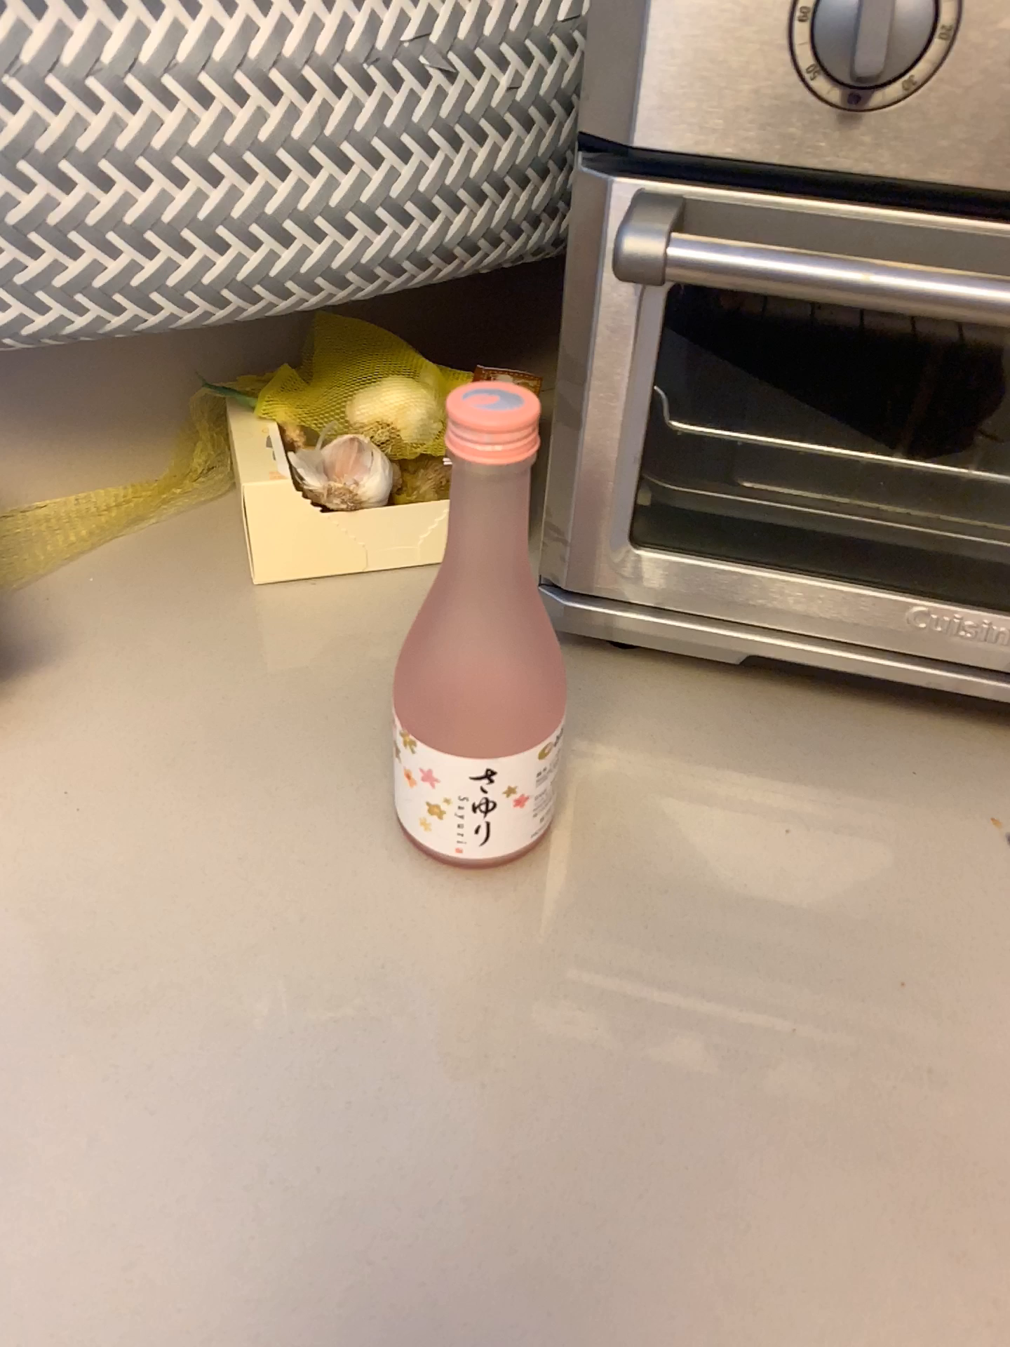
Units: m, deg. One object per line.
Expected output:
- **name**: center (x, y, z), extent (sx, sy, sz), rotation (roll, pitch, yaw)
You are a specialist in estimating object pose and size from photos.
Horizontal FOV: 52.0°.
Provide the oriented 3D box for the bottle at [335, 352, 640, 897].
- **bottle**: center (-0.007, -0.013, 0.365), extent (0.070, 0.169, 0.070), rotation (2, 39, -2)
